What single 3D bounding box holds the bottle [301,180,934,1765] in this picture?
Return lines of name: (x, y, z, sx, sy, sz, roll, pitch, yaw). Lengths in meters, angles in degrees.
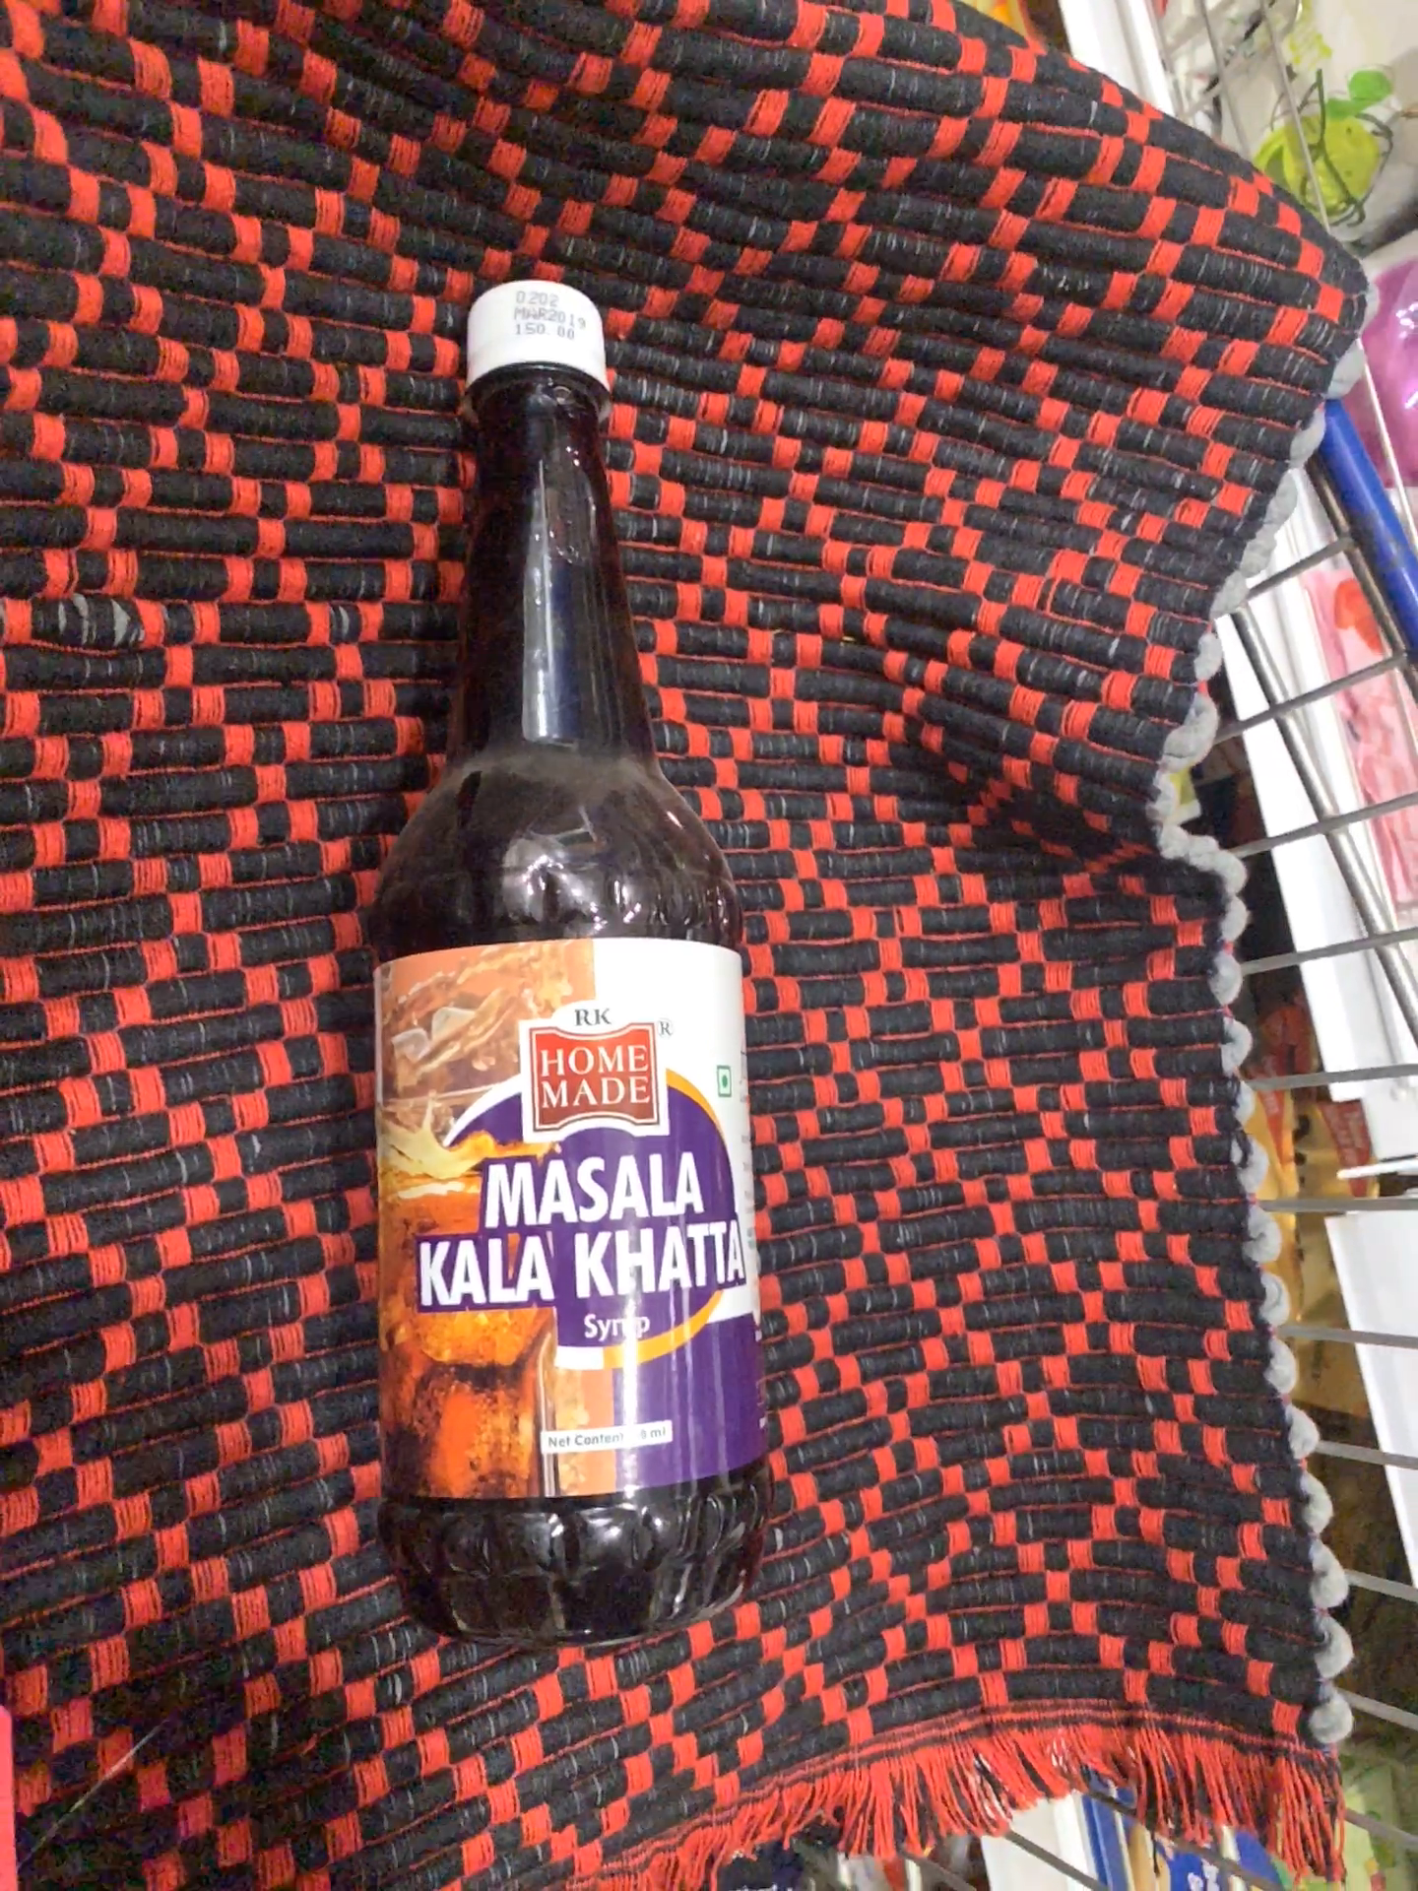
bottle: (-0.027, 0.000, 0.289, 0.080, 0.080, 0.260, 0, 78, -27)
